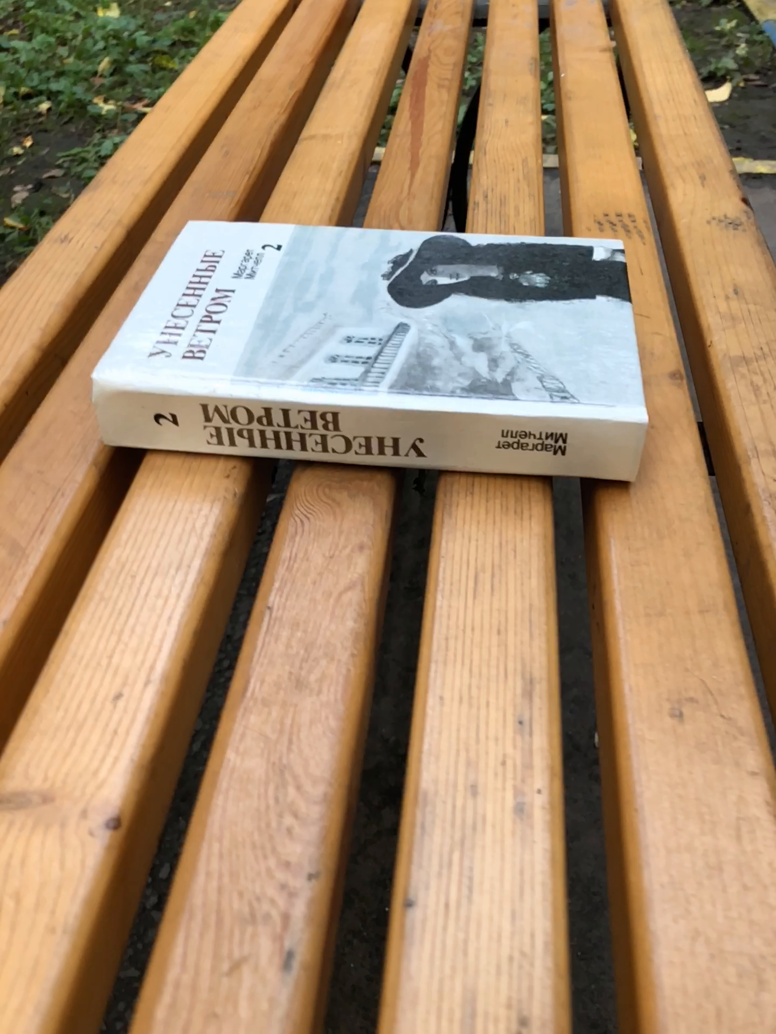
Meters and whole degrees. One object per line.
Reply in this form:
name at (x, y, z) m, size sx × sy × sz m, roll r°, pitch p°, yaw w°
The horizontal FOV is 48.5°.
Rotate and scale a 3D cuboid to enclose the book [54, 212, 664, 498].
book at (-0.005, -0.075, 0.354) m, size 0.210 × 0.030 × 0.141 m, roll 5°, pitch 44°, yaw 5°
